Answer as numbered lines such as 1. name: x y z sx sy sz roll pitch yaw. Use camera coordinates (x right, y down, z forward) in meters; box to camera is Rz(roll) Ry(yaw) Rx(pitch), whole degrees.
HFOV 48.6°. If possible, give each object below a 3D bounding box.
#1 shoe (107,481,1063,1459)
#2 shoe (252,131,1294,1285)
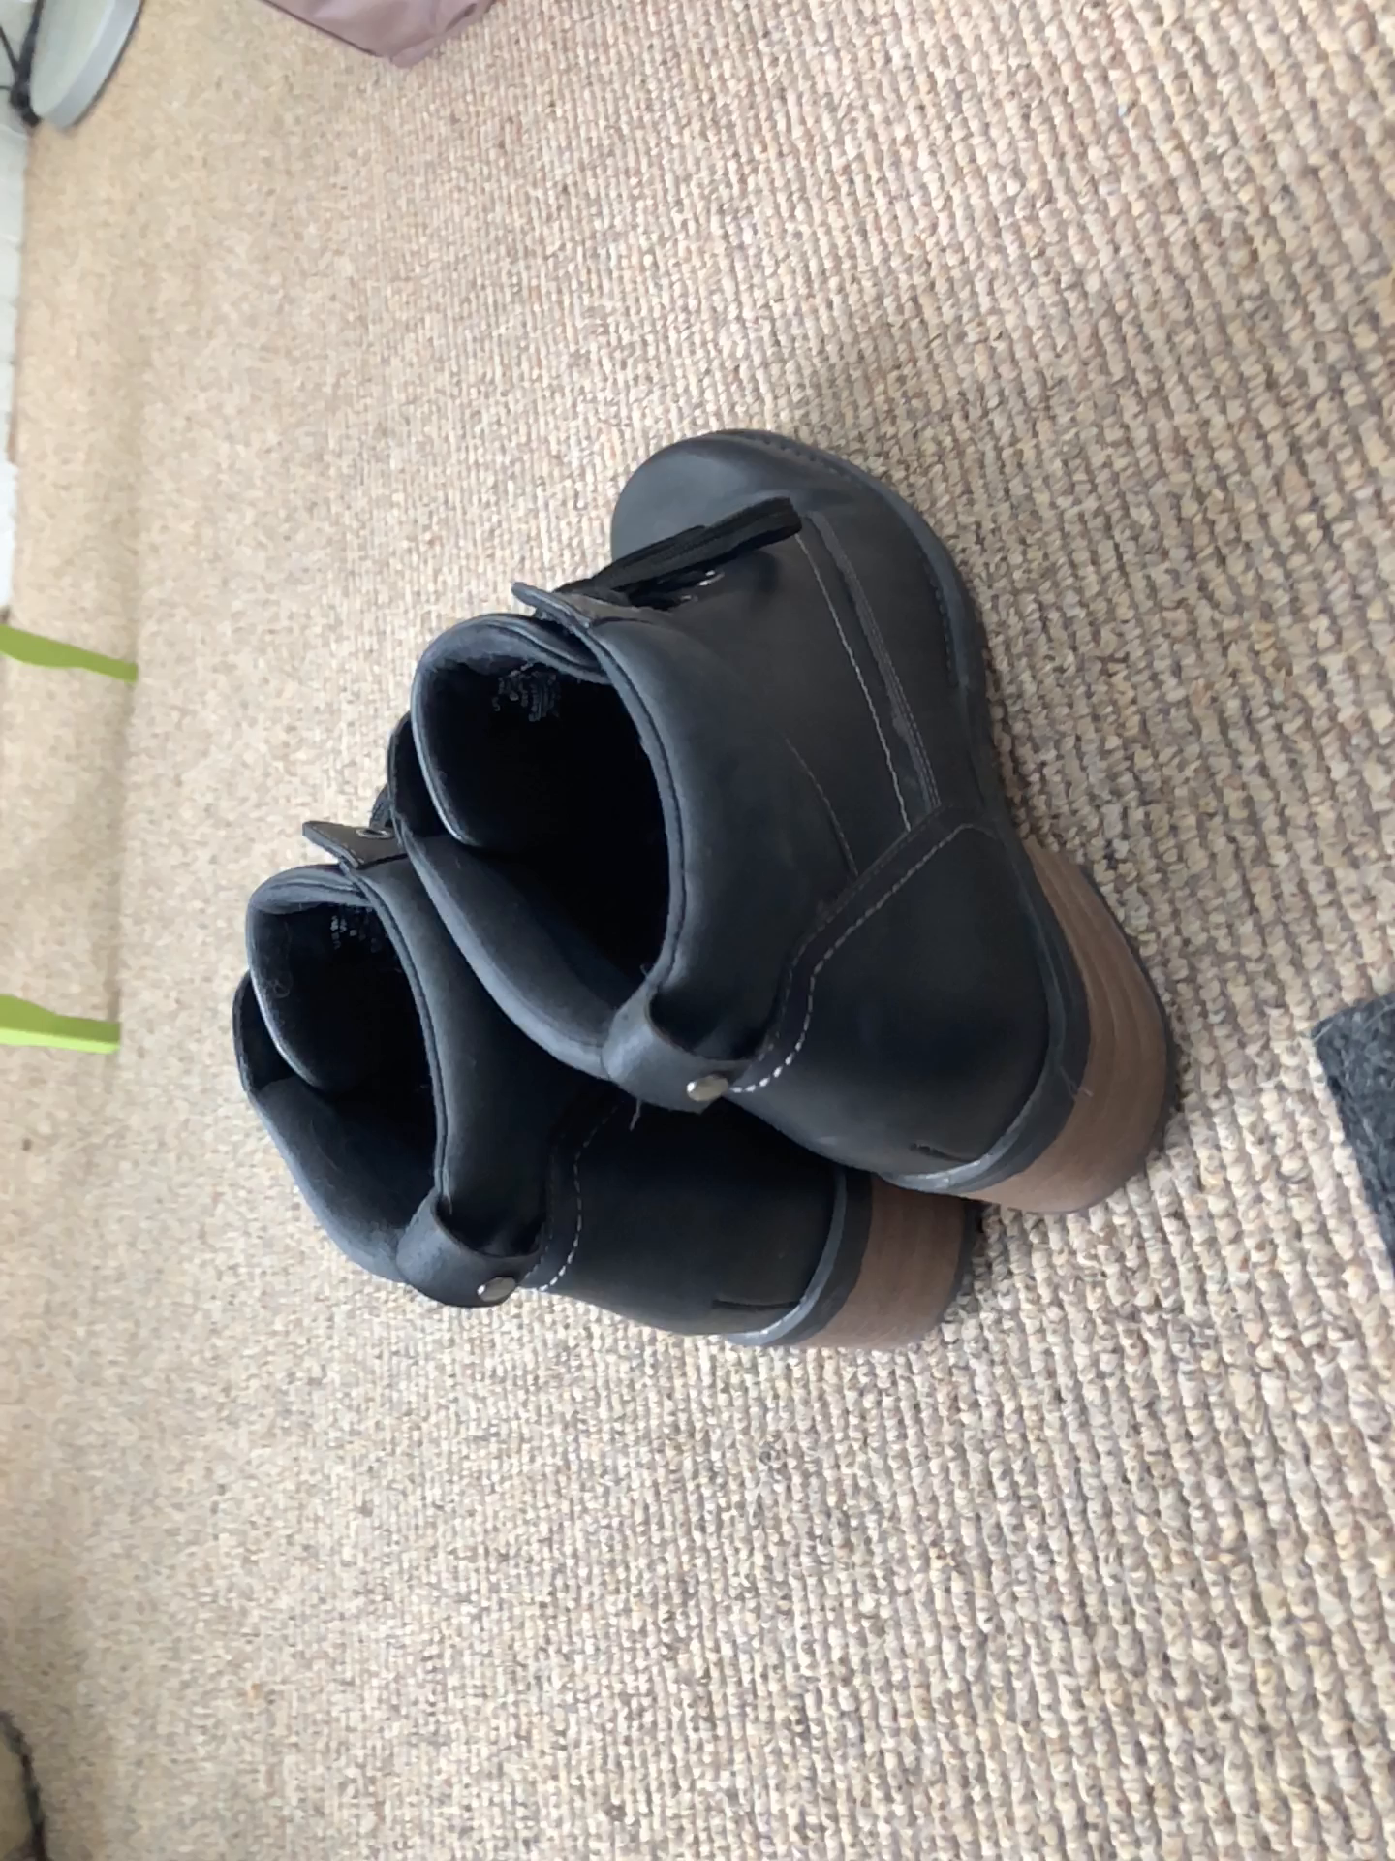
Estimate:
1. shoe: -0.049 0.004 0.441 0.097 0.165 0.268 -55 44 24
2. shoe: 0.001 -0.059 0.393 0.094 0.162 0.274 -47 47 30
